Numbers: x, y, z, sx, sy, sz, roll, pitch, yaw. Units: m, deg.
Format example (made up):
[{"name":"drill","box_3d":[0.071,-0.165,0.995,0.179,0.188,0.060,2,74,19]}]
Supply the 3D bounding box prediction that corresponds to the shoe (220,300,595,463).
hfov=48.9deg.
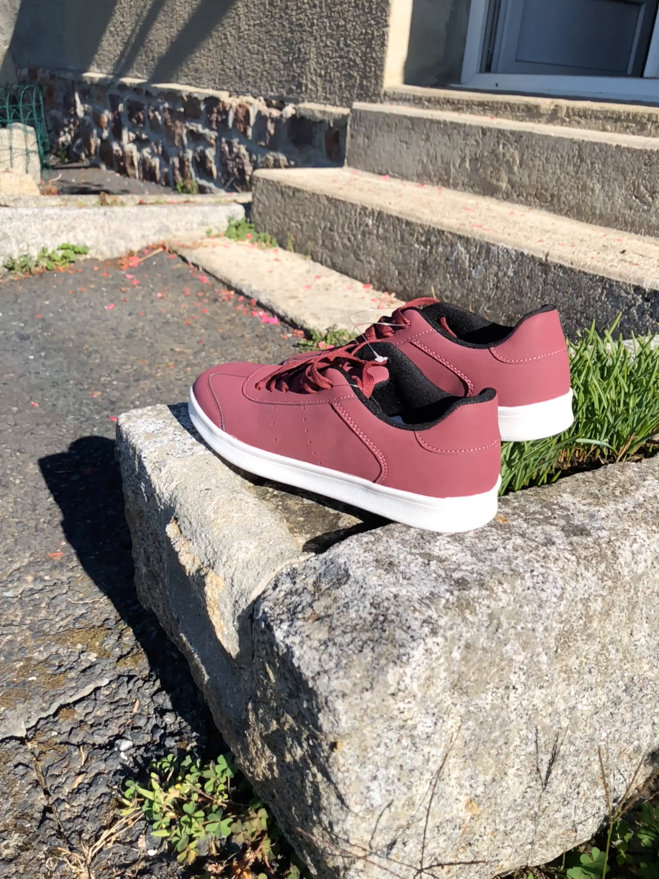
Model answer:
[{"name":"shoe","box_3d":[0.052,-0.055,0.548,0.259,0.080,0.101,8,23,34]}]

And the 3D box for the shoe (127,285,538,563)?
[{"name":"shoe","box_3d":[-0.012,-0.028,0.480,0.260,0.080,0.101,24,32,34]}]
